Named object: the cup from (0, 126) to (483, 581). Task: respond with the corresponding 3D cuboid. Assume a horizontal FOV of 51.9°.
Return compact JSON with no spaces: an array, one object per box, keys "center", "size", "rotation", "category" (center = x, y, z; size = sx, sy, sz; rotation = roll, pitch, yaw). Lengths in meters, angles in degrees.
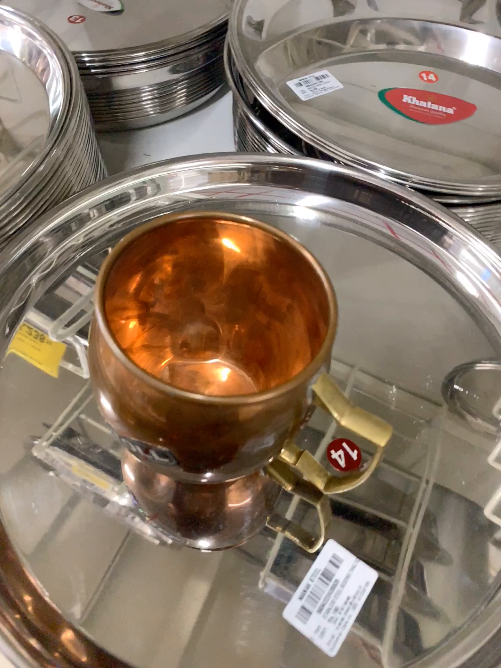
[{"center":[-0.006,0.009,0.191],"size":[0.120,0.090,0.090],"rotation":[31,62,13],"category":"cup"}]
